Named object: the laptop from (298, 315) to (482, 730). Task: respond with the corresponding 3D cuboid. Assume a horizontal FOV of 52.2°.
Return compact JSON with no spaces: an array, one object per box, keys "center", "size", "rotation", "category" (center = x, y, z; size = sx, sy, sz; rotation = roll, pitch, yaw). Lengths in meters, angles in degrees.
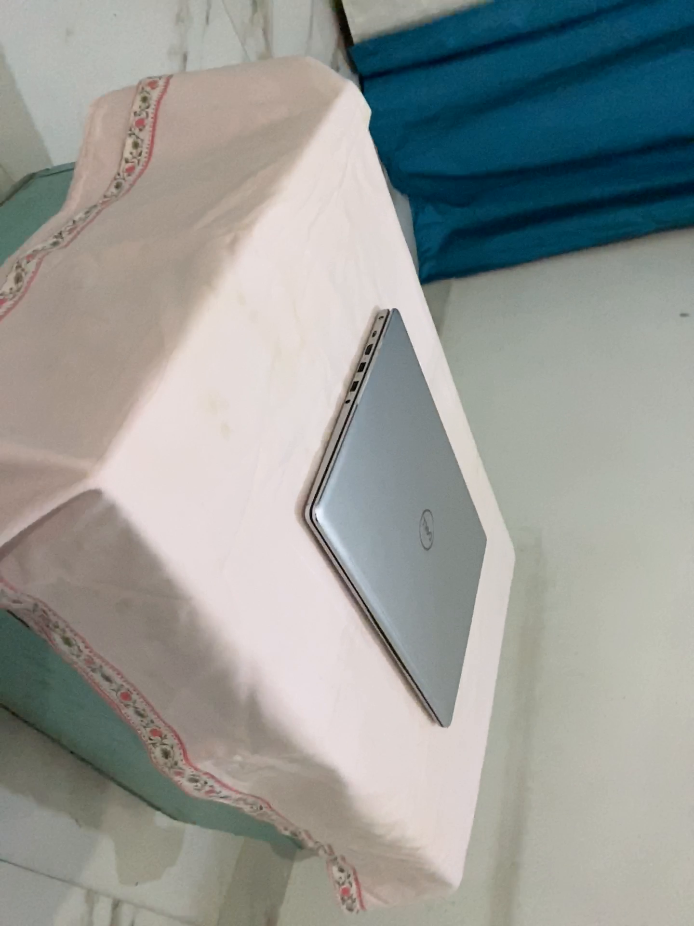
[{"center":[0.066,0.072,0.686],"size":[0.360,0.004,0.236],"rotation":[62,38,-42],"category":"laptop"}]
